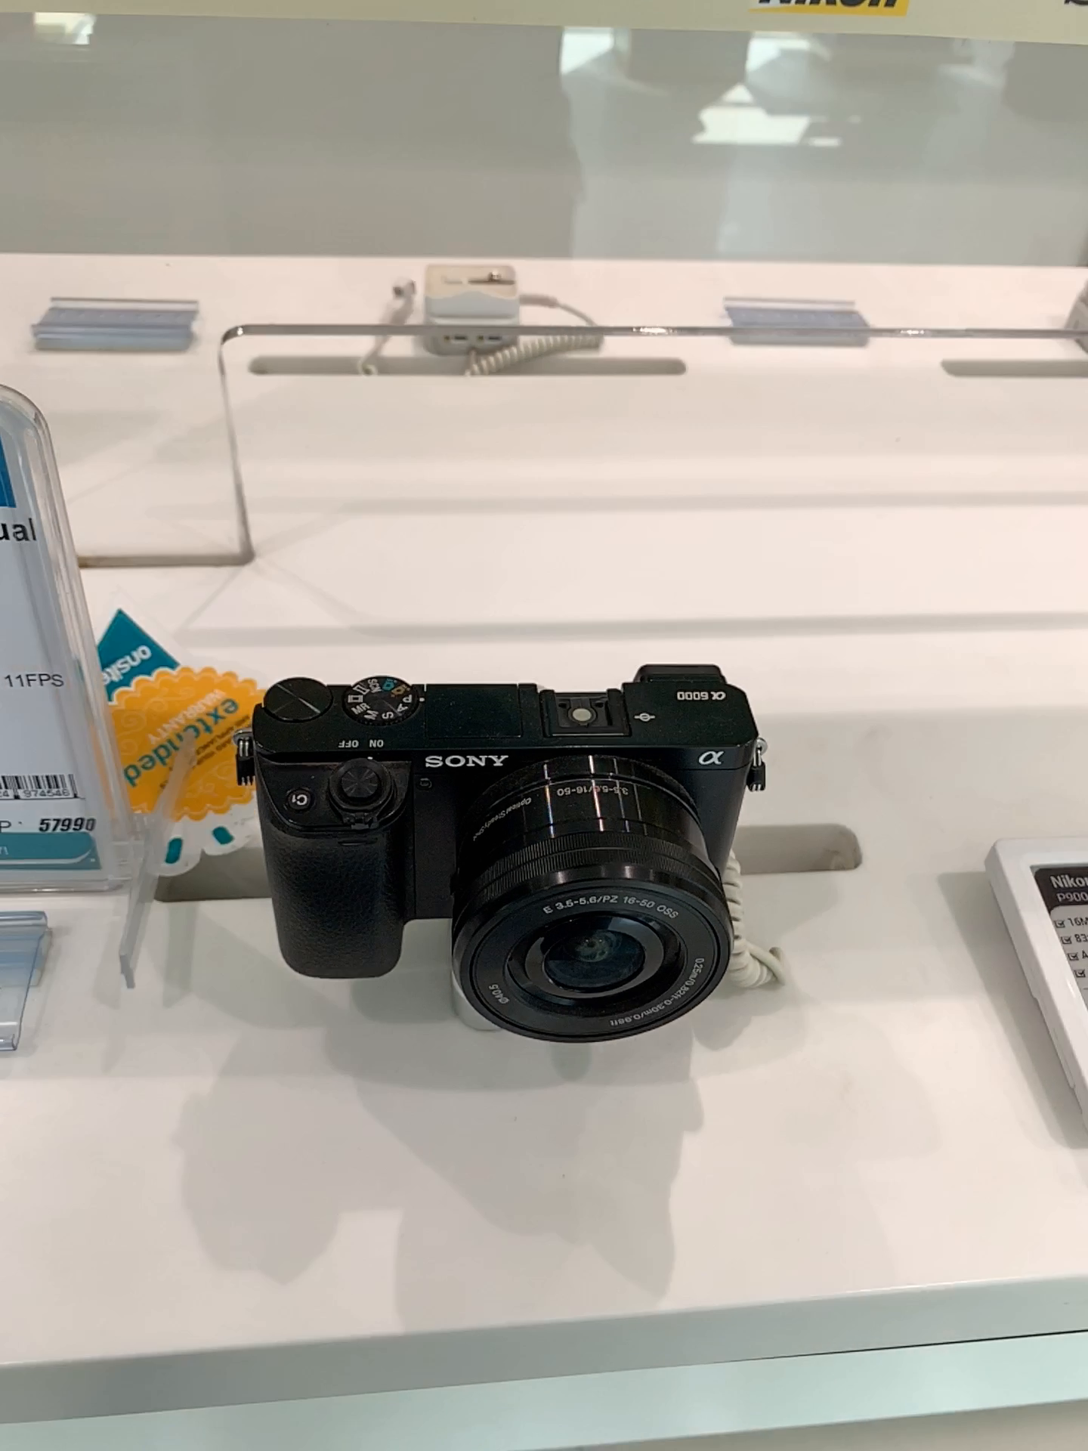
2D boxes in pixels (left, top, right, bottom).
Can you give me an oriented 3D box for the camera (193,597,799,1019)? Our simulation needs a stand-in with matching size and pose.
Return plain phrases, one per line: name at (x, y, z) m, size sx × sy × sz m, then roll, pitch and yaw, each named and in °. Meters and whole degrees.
camera at (-0.011, 0.017, 0.236) m, size 0.104 × 0.063 × 0.059 m, roll -1°, pitch 45°, yaw -5°
